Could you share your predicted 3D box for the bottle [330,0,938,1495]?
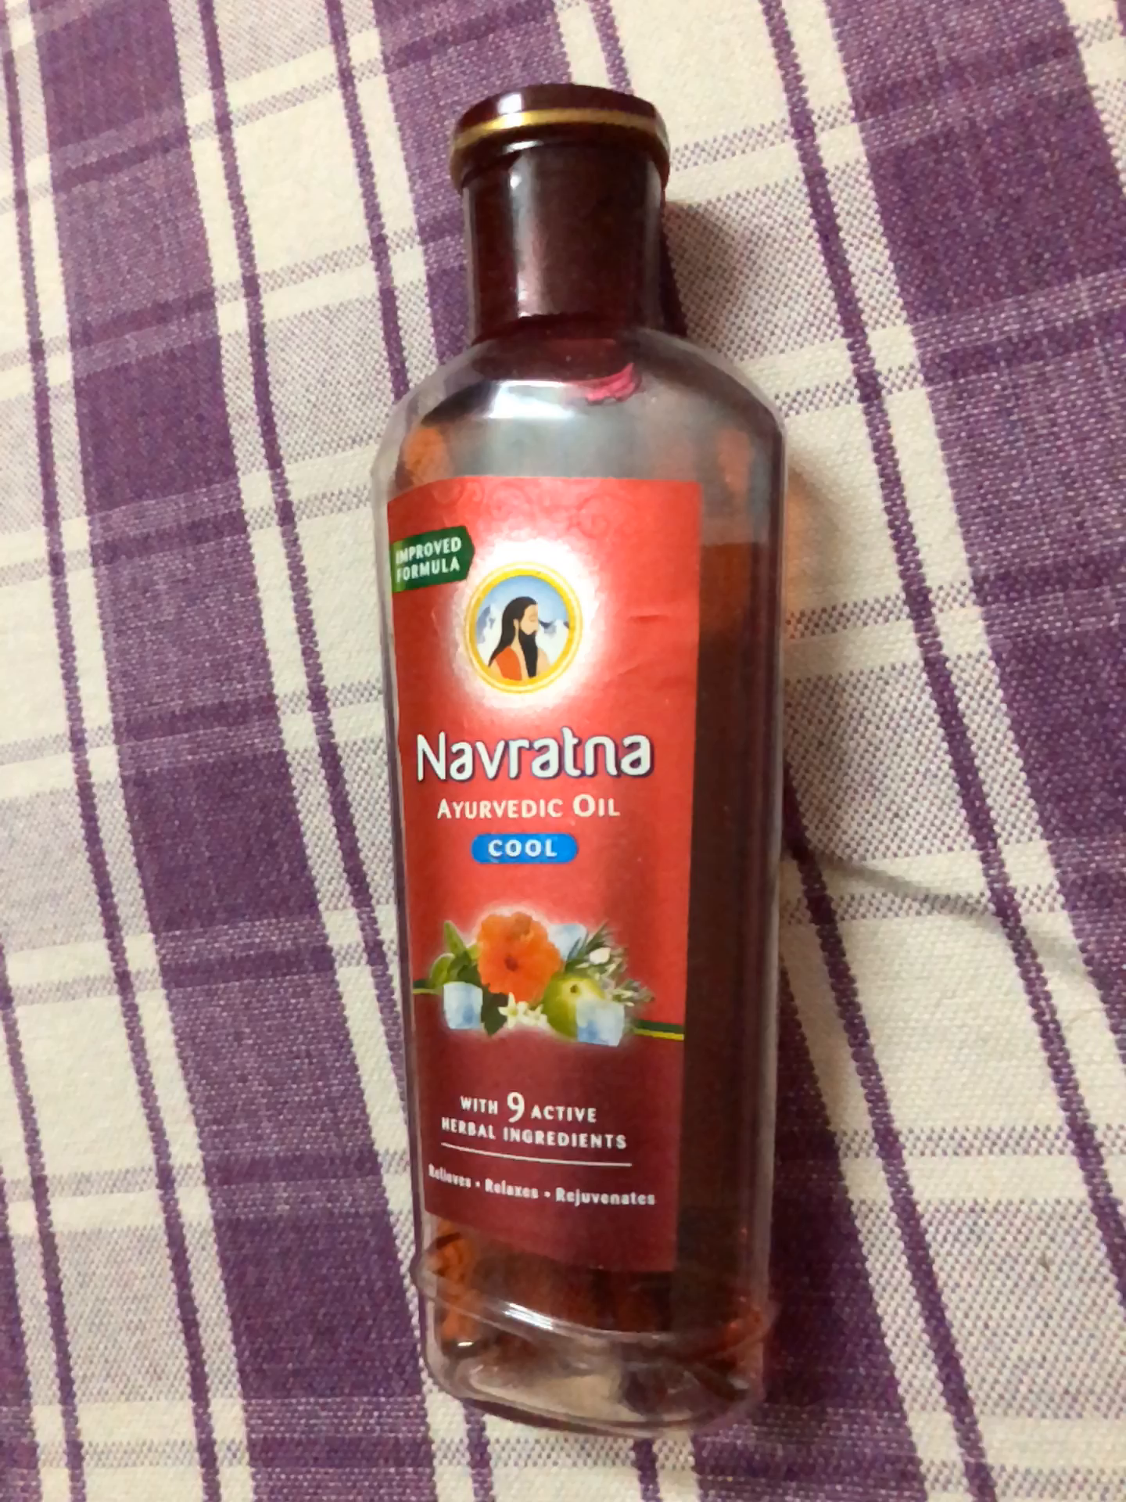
[{"bbox_3d":[0.010,-0.012,0.188,0.070,0.050,0.200,-4,84,23],"label":"bottle"}]
